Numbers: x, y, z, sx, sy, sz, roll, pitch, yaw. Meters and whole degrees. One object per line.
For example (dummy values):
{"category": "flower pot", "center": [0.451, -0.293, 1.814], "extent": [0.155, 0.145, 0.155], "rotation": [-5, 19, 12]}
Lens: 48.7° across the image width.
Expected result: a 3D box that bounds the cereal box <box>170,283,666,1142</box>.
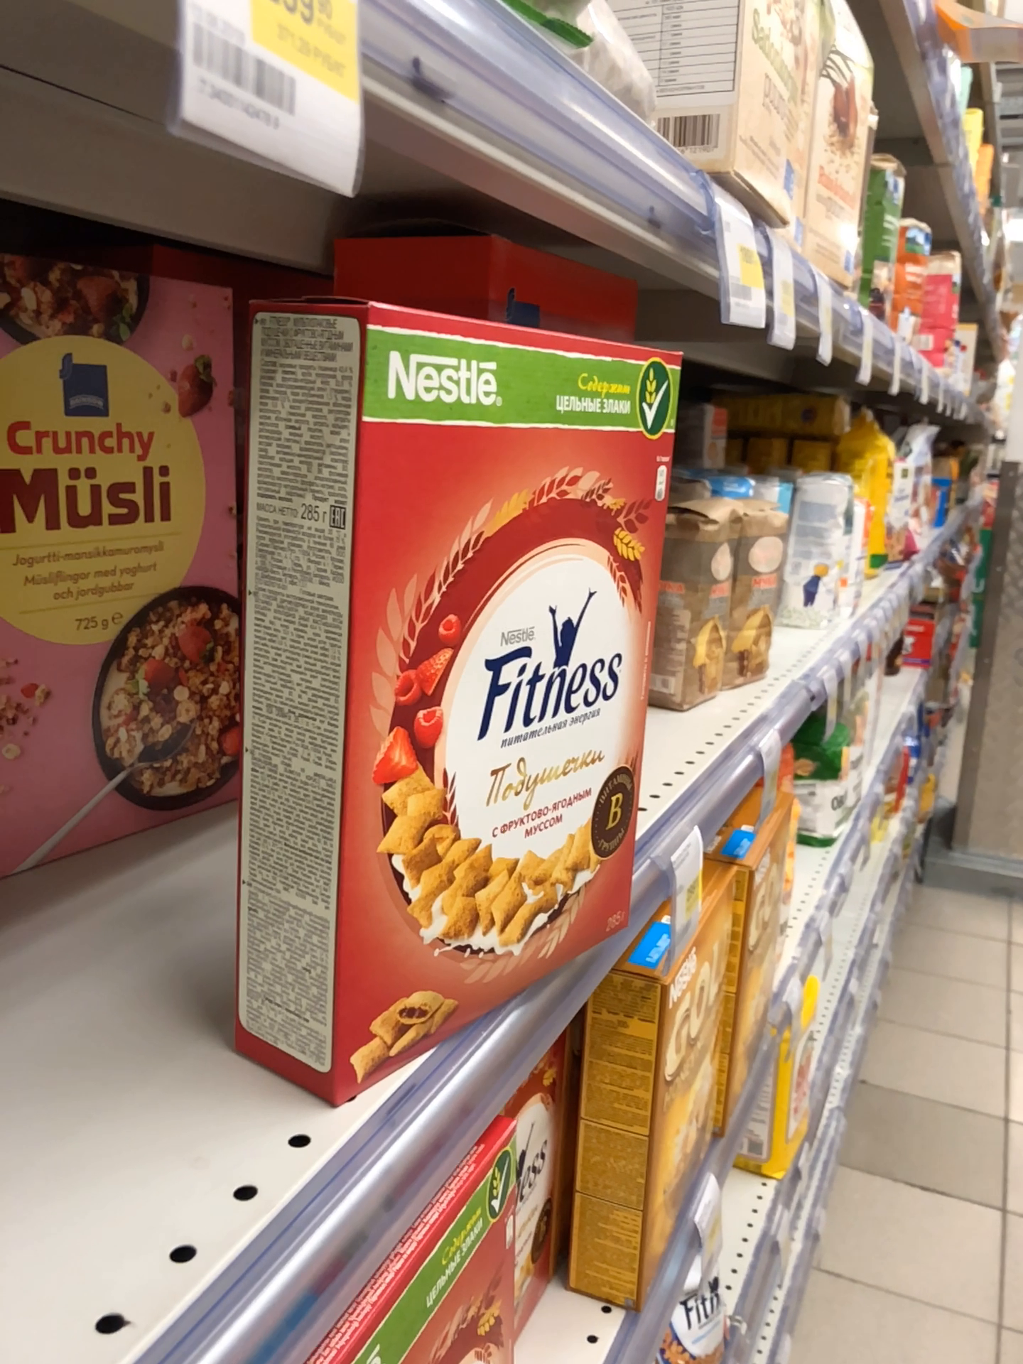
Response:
{"category": "cereal box", "center": [-0.026, 0.000, 0.388], "extent": [0.050, 0.239, 0.180], "rotation": [14, 17, 35]}
